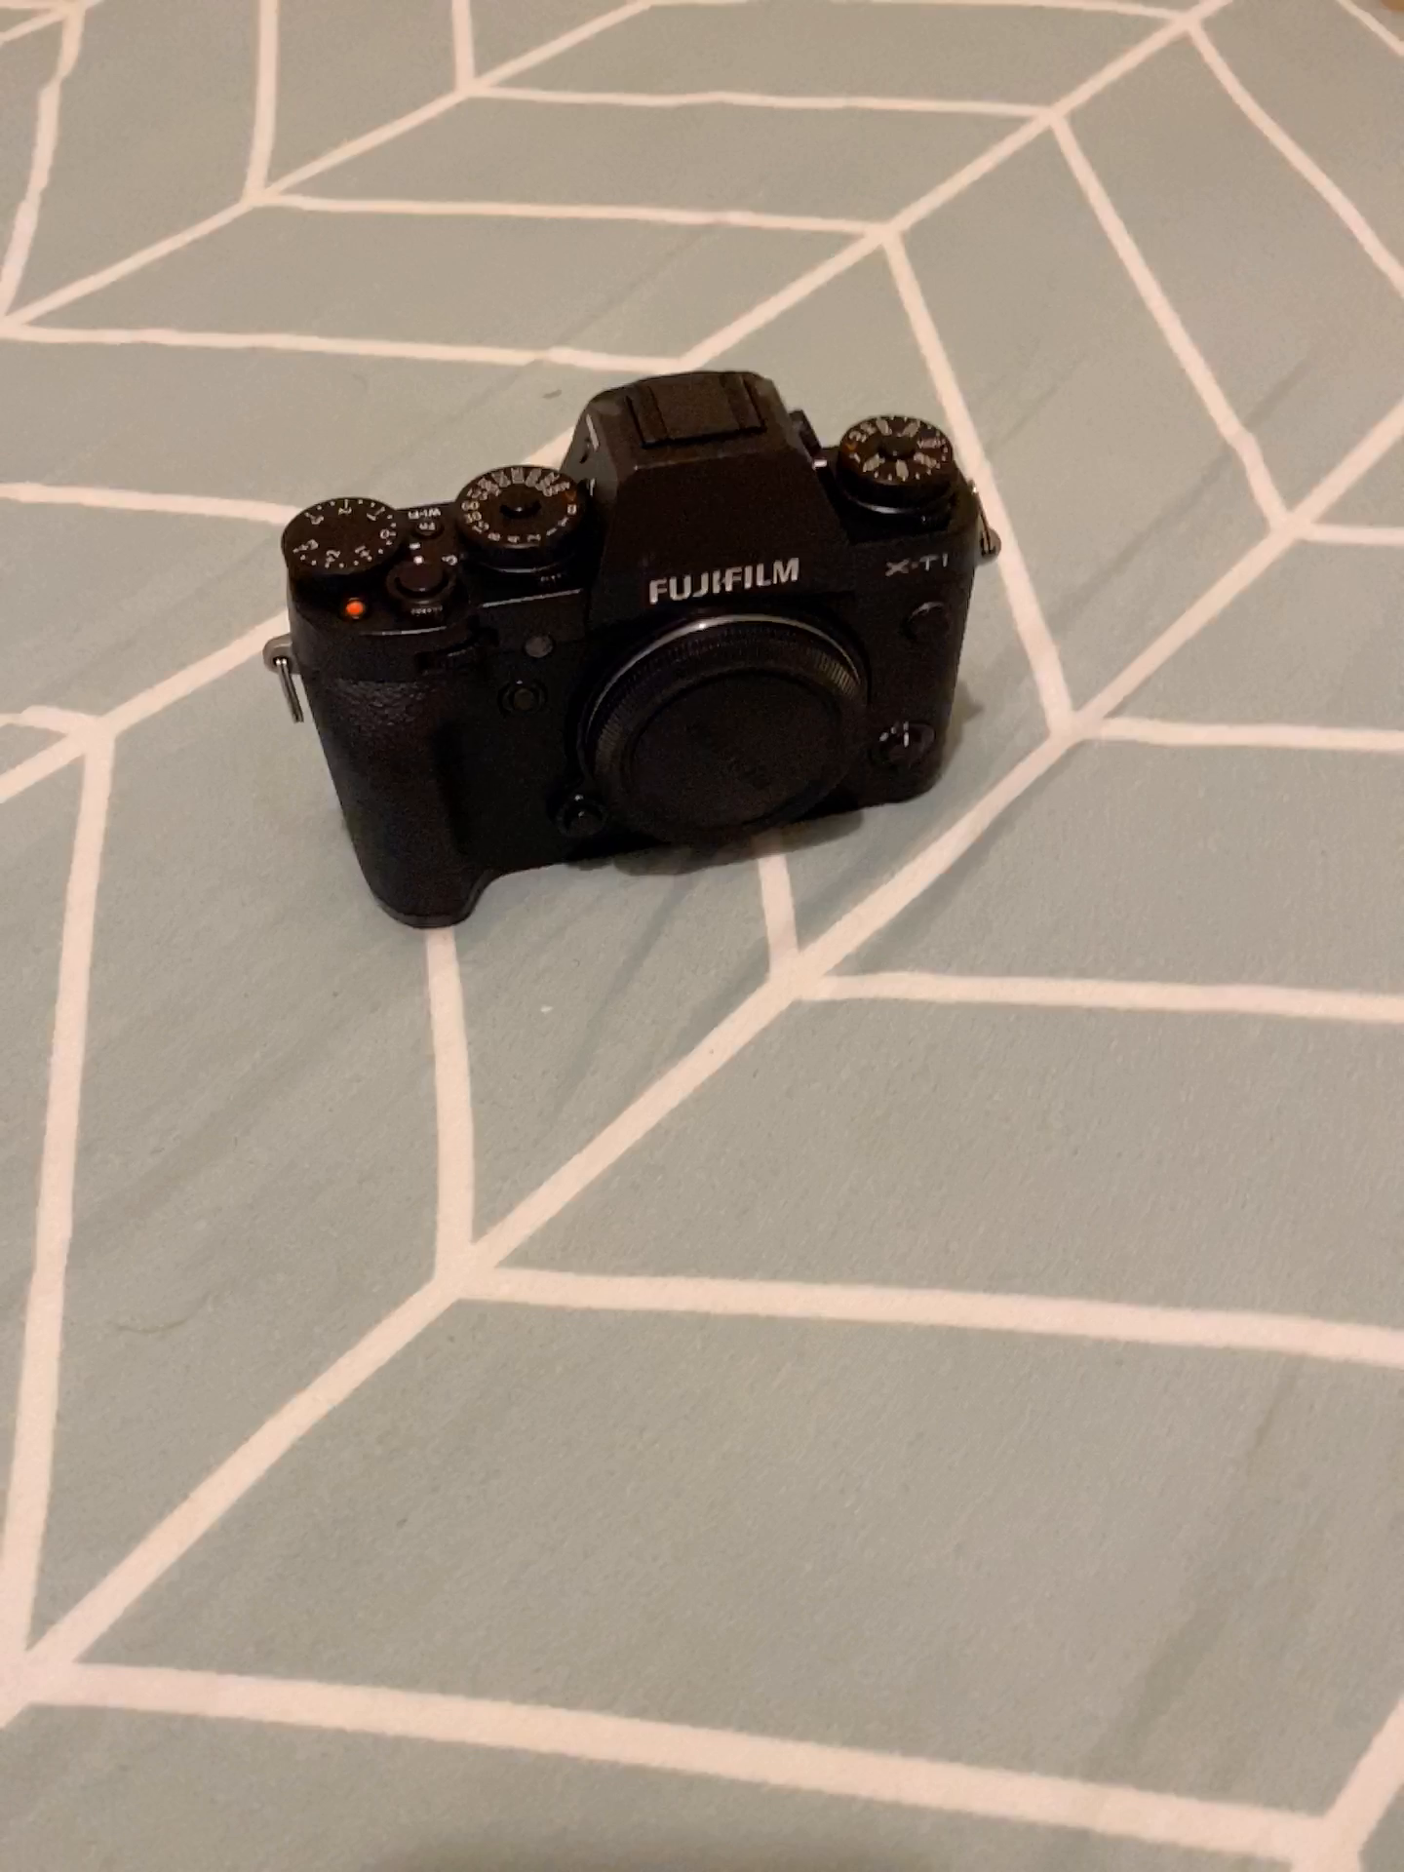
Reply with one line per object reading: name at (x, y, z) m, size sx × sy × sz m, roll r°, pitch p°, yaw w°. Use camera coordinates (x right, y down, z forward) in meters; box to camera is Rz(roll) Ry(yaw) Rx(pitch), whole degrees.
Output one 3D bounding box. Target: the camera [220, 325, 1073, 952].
camera at (-0.011, -0.057, 0.286) m, size 0.142 × 0.082 × 0.054 m, roll -12°, pitch 53°, yaw -7°
